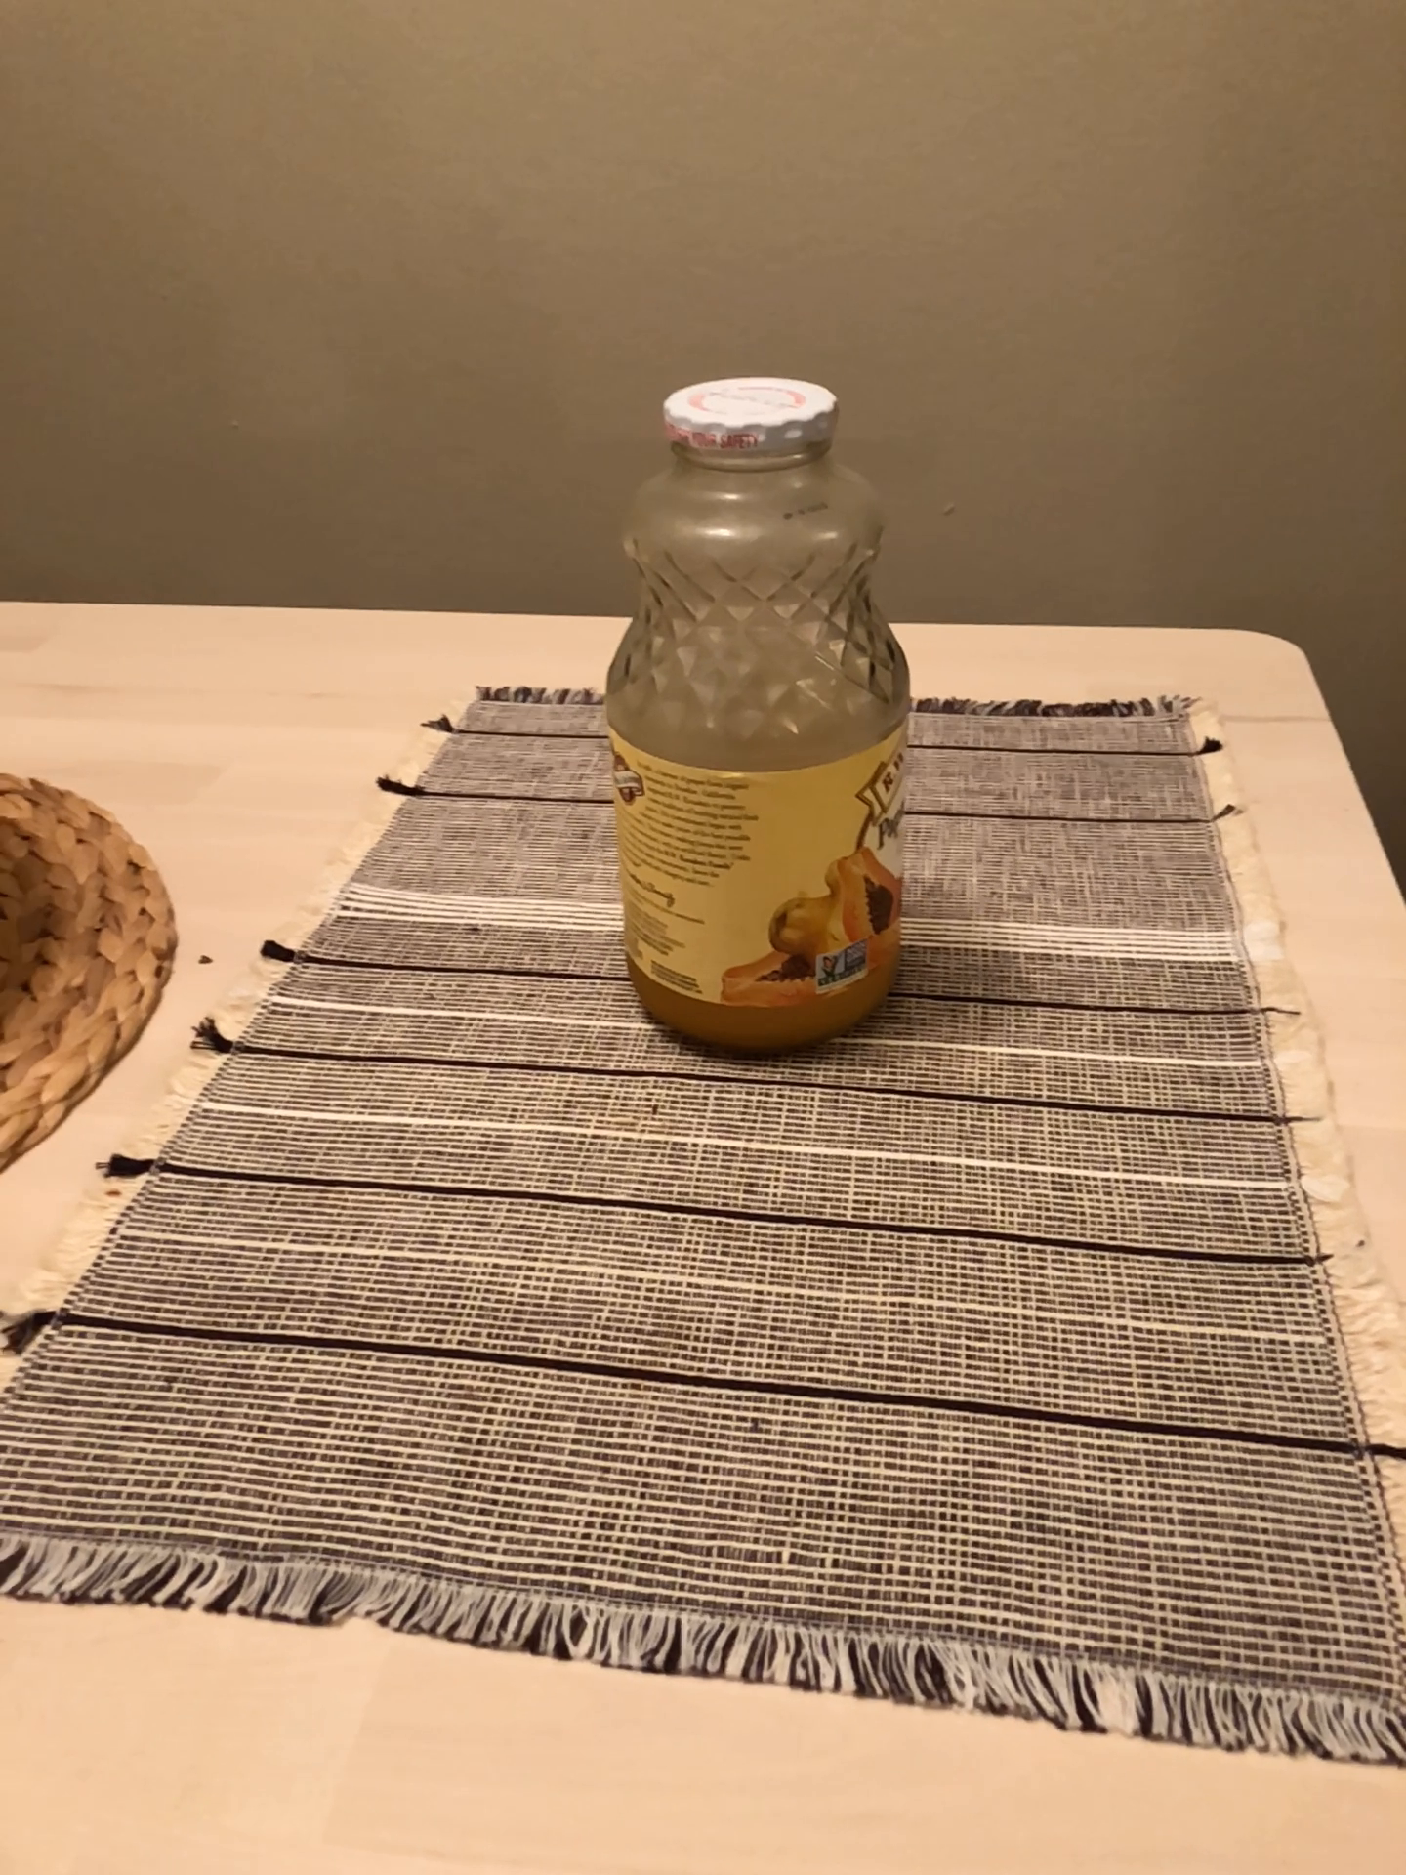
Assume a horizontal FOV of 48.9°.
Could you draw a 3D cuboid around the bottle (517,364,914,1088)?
[{"bbox_3d":[0.012,-0.065,0.488,0.100,0.199,0.101,-2,31,1],"label":"bottle"}]
